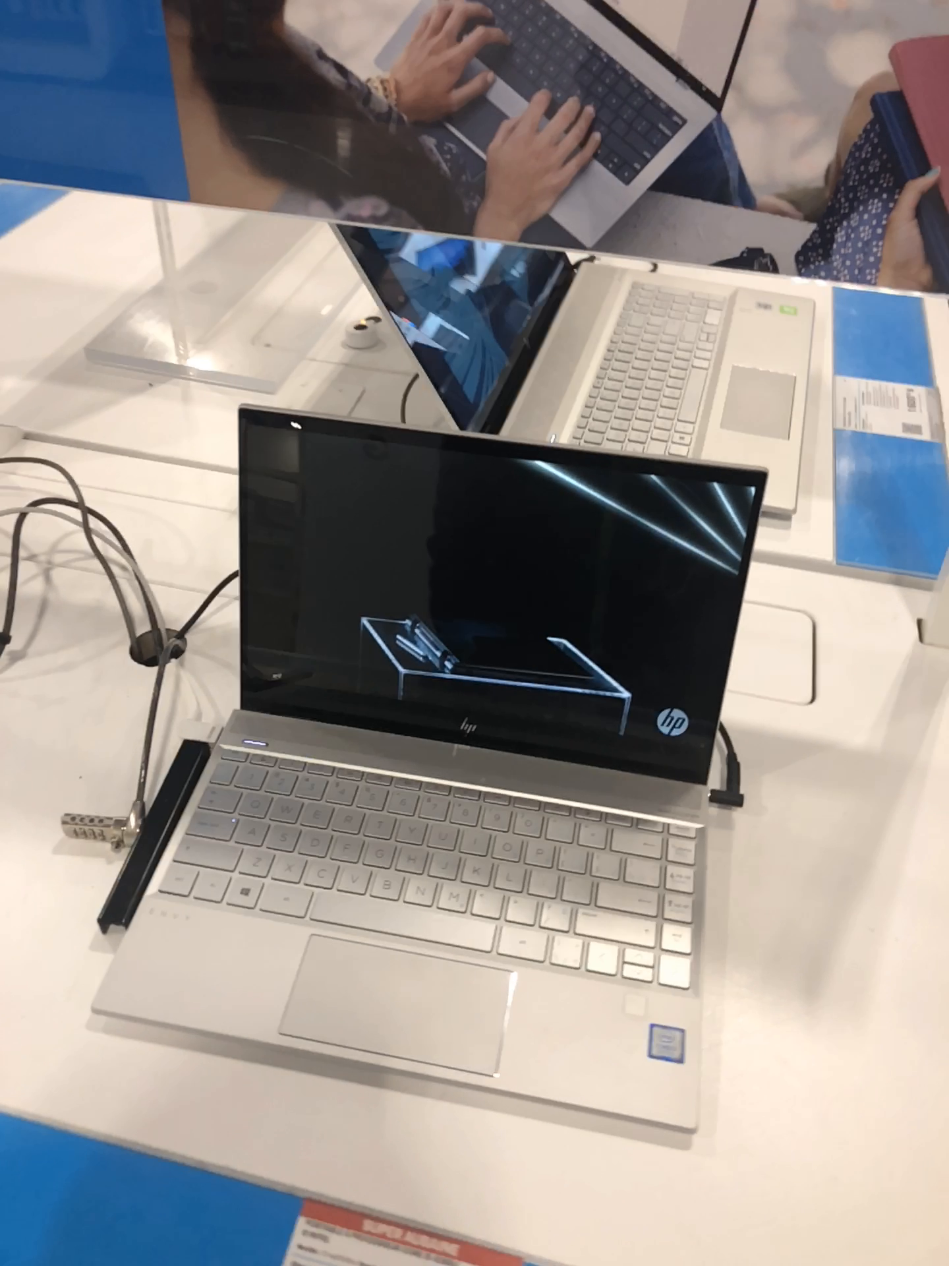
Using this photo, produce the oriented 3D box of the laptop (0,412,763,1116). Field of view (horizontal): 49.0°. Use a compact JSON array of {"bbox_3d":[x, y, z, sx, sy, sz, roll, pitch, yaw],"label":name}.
[{"bbox_3d":[-0.018,0.050,0.547,0.298,0.182,0.273,8,43,7],"label":"laptop"}]
